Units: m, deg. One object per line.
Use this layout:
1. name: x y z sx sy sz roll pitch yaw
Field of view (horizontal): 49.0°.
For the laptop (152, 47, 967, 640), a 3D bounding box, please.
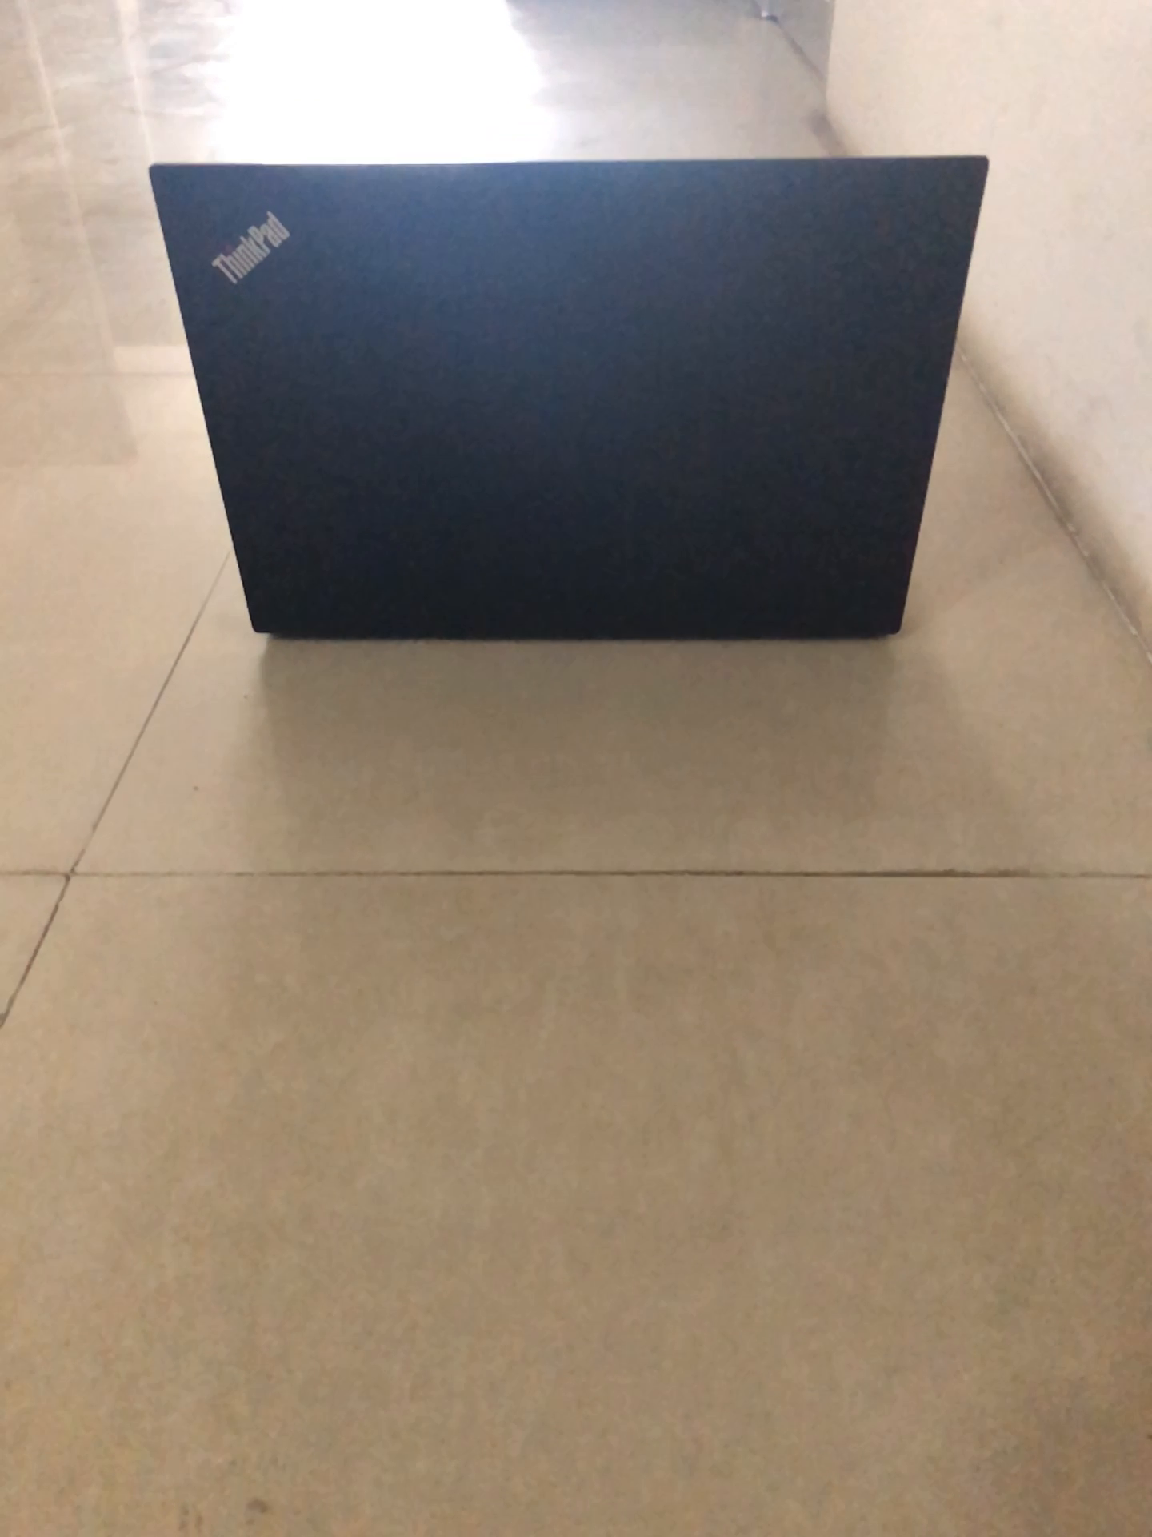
1. laptop: -0.001 -0.249 0.722 0.353 0.240 0.256 1 39 1
